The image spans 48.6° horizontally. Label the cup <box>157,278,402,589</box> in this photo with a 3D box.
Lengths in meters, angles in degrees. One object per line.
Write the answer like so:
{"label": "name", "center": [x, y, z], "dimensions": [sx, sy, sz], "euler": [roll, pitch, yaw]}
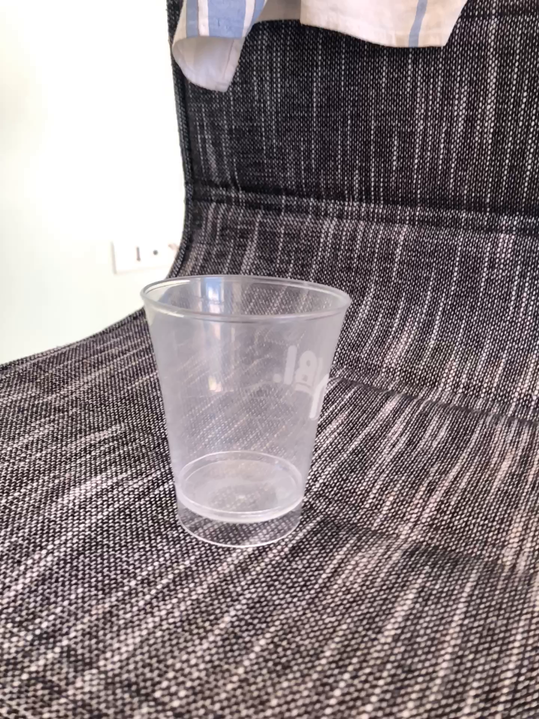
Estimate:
{"label": "cup", "center": [-0.004, 0.023, 0.249], "dimensions": [0.080, 0.100, 0.080], "euler": [2, 17, -1]}
